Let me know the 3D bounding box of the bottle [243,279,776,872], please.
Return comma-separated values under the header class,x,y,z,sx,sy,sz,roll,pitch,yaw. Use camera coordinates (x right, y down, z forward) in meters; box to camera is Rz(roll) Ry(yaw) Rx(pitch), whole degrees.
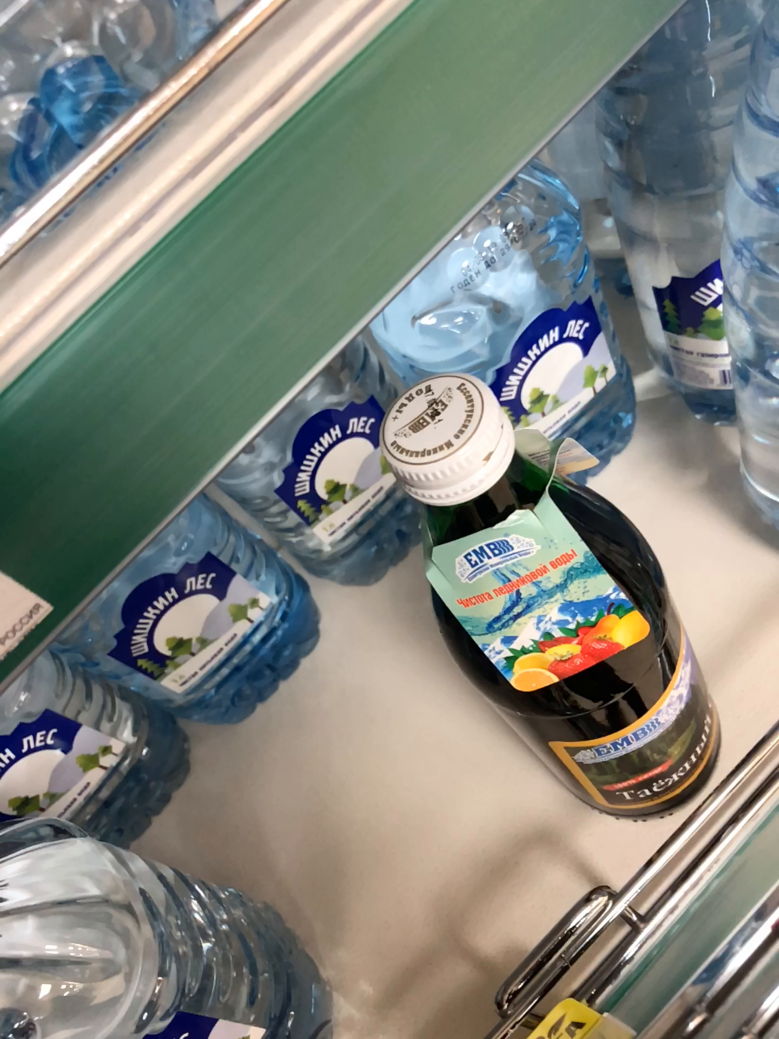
class,x,y,z,sx,sy,sz,roll,pitch,yaw
bottle,0.057,0.038,0.270,0.075,0.219,0.068,-14,56,21
